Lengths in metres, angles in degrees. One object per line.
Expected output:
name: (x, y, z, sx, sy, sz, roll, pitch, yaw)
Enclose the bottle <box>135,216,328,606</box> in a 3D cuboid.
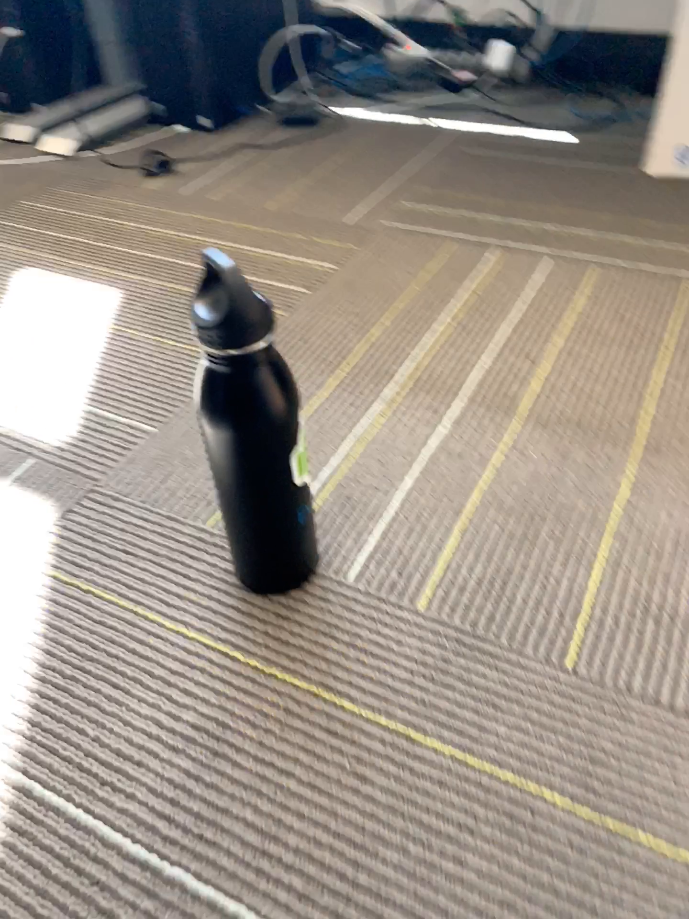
bottle: (-0.070, -0.021, 0.482, 0.080, 0.248, 0.091, -13, 42, -11)
